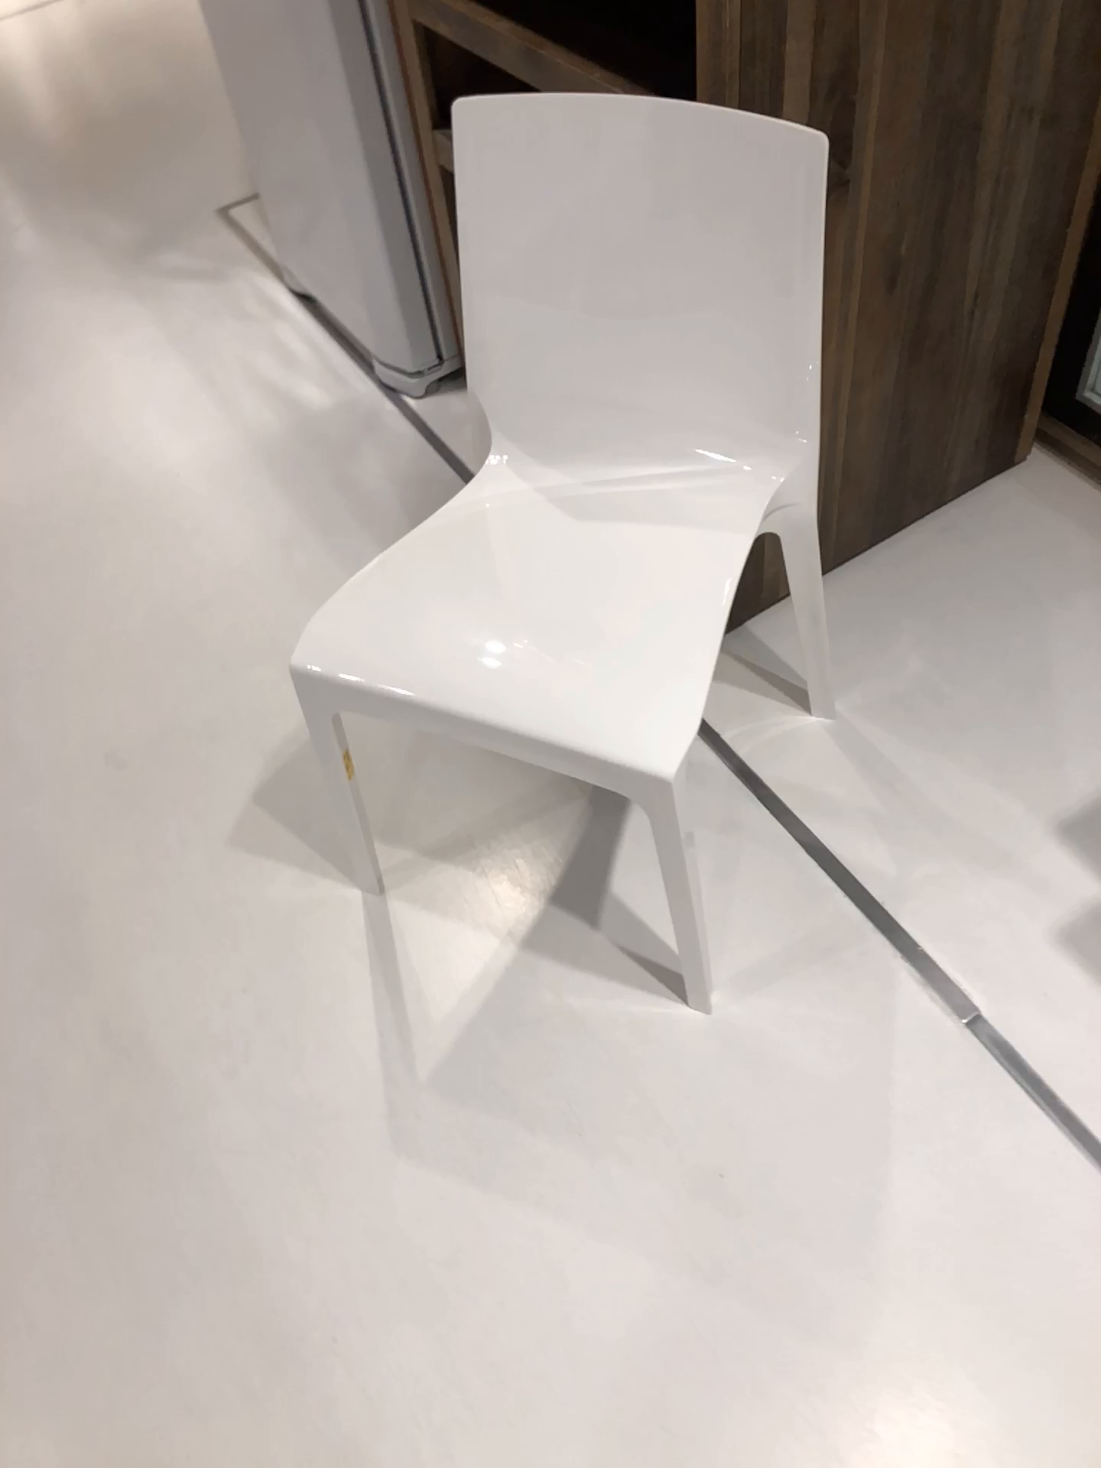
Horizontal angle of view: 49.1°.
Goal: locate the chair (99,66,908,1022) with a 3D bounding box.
[{"bbox_3d":[0.023,-0.168,1.263,0.480,0.756,0.523,15,55,19],"label":"chair"}]
